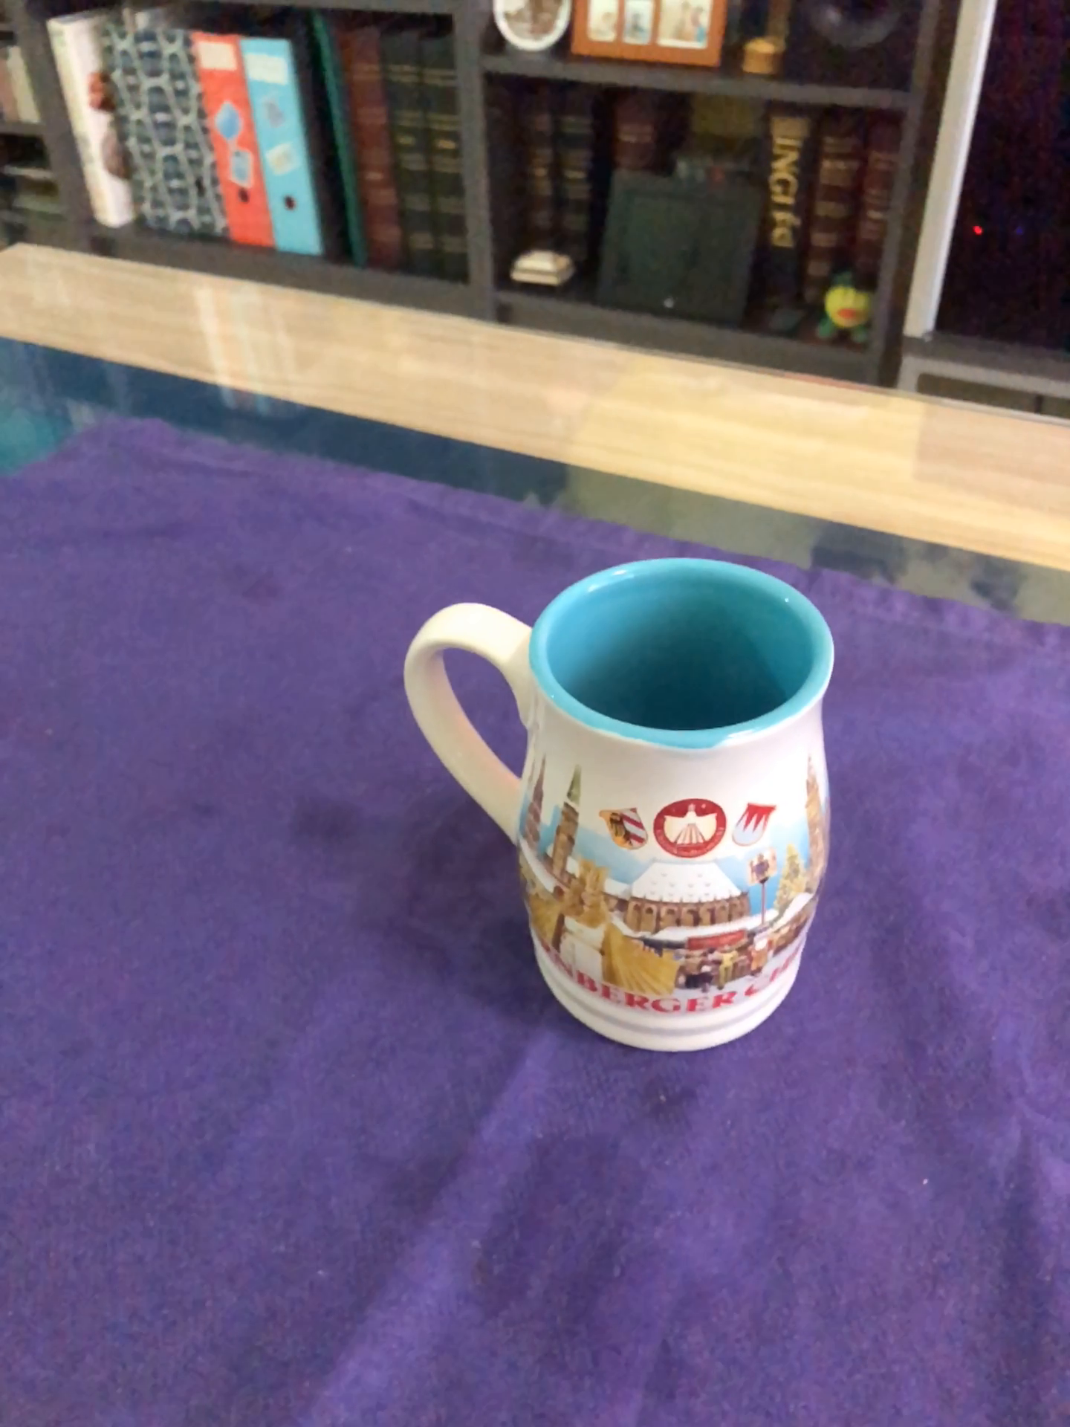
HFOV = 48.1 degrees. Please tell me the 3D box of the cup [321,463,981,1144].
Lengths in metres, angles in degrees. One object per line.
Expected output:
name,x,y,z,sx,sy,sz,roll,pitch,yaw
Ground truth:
cup,0.028,0.018,0.297,0.120,0.110,0.080,20,46,24
